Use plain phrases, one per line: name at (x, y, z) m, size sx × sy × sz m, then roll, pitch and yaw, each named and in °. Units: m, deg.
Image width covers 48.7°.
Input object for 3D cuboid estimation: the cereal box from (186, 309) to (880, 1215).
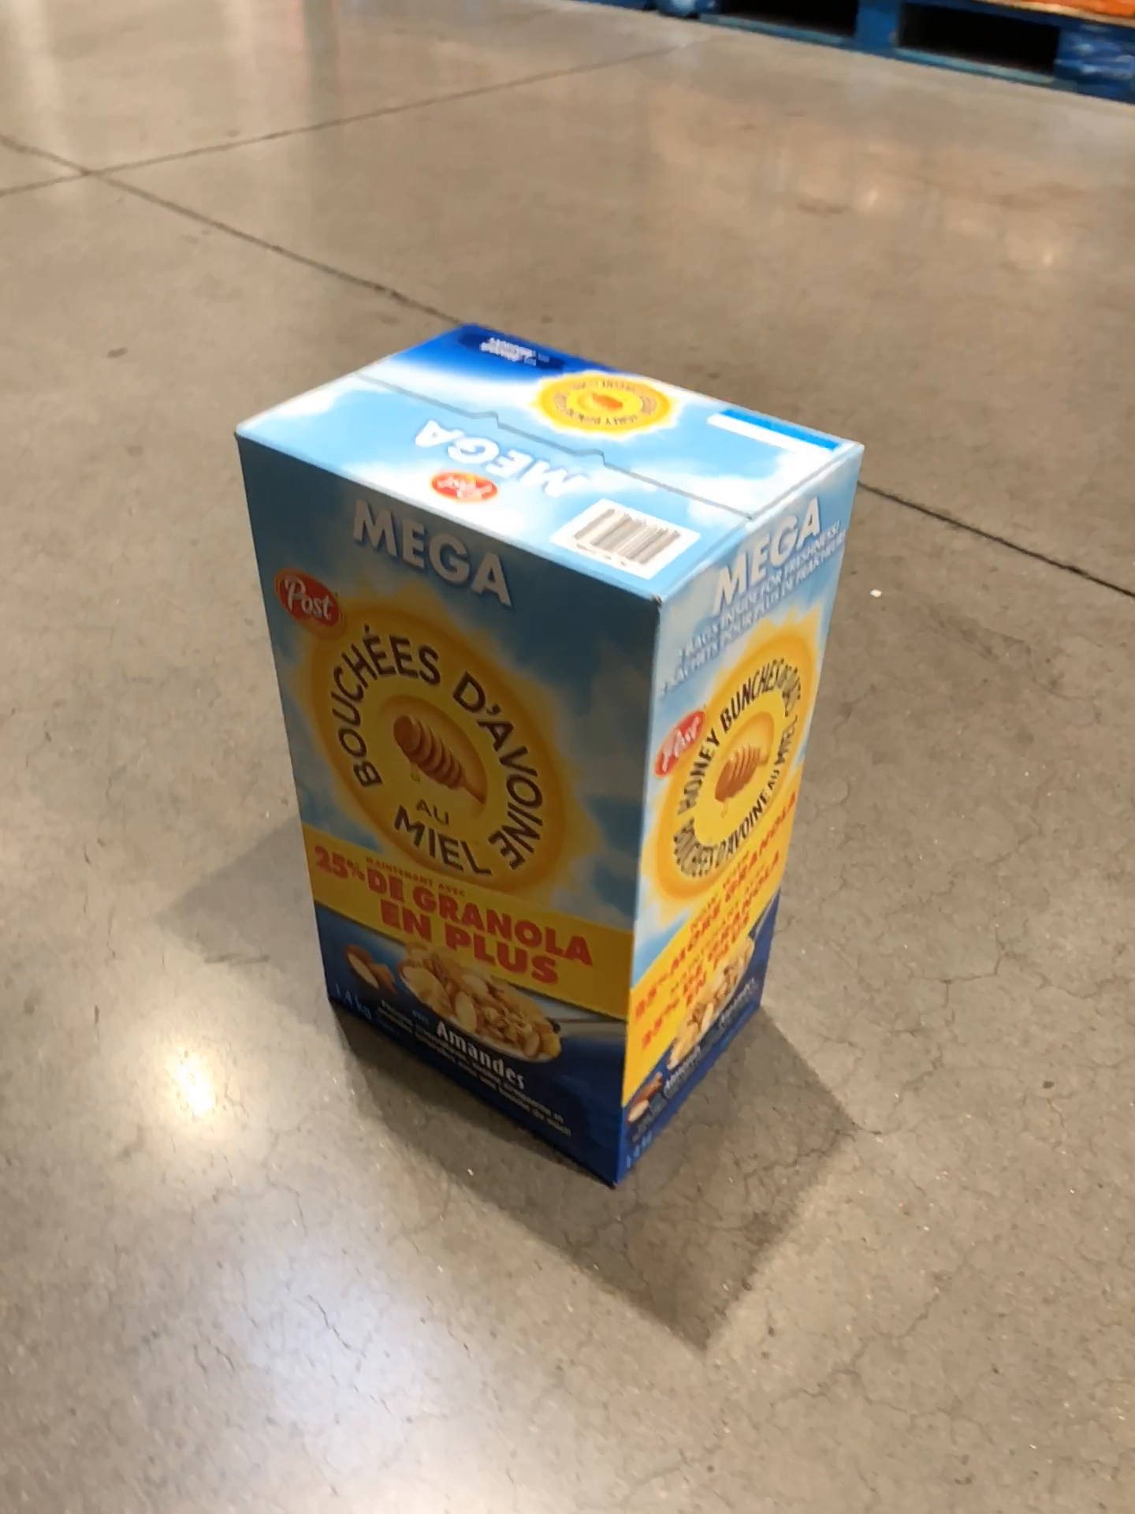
cereal box at (-0.015, 0.006, 0.570) m, size 0.210 × 0.329 × 0.150 m, roll 26°, pitch 46°, yaw 27°
